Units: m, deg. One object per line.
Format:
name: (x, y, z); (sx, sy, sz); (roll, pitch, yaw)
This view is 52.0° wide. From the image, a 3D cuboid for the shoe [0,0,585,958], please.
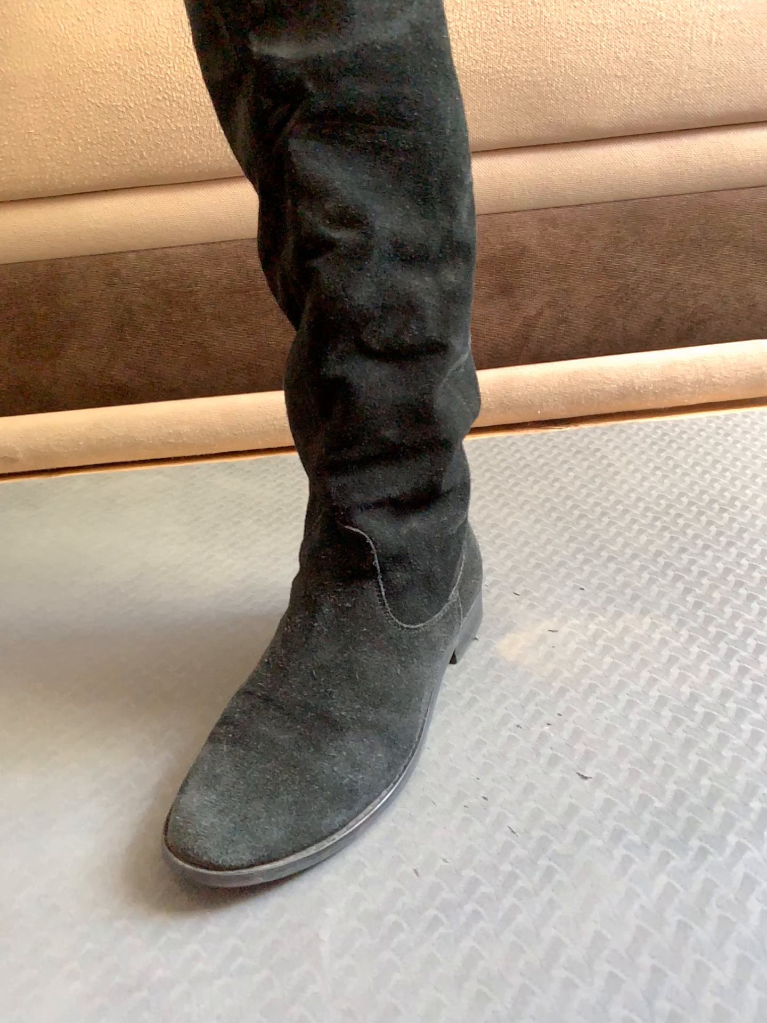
shoe: (-0.019, -0.088, 0.357); (0.130, 0.378, 0.321); (7, 27, 29)
